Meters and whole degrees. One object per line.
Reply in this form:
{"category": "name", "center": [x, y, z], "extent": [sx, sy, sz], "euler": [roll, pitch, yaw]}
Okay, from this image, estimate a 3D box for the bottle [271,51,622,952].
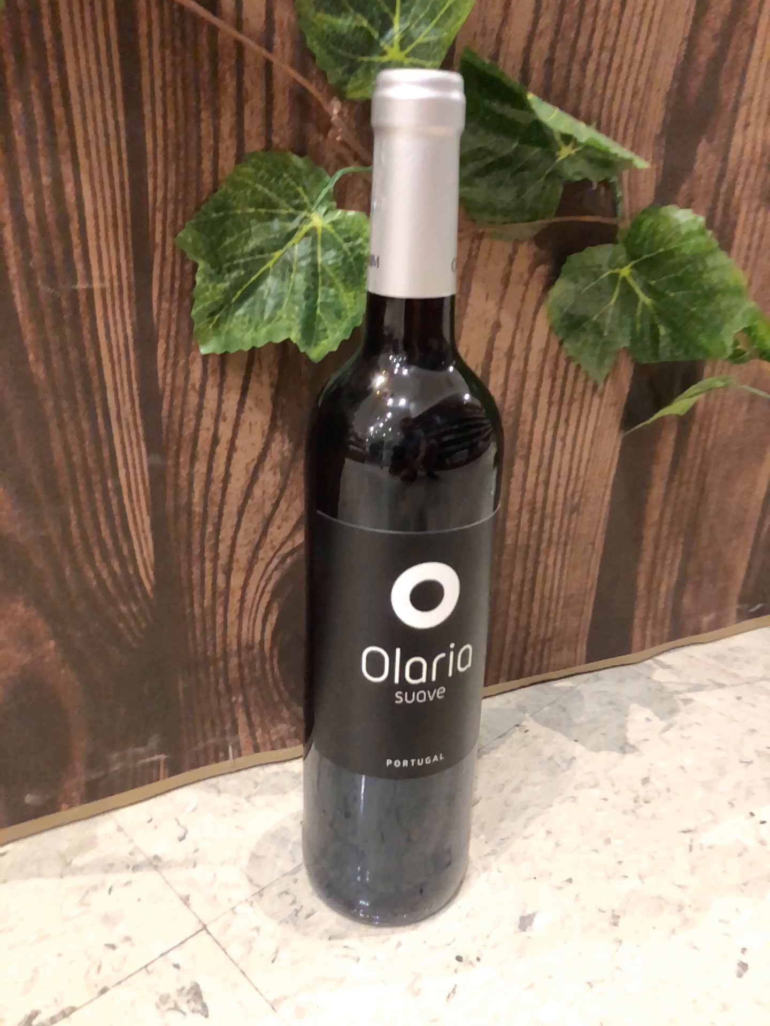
{"category": "bottle", "center": [0.009, 0.007, 0.308], "extent": [0.080, 0.298, 0.081], "euler": [2, 22, -1]}
